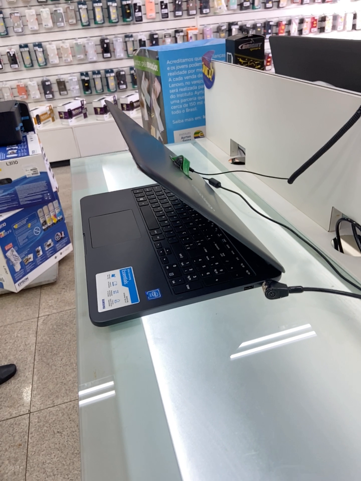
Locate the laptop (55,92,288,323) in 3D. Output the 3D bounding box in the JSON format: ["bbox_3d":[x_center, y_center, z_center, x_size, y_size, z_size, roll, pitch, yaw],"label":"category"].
[{"bbox_3d":[-0.043,-0.094,0.575,0.245,0.173,0.374,-13,32,-10],"label":"laptop"}]
